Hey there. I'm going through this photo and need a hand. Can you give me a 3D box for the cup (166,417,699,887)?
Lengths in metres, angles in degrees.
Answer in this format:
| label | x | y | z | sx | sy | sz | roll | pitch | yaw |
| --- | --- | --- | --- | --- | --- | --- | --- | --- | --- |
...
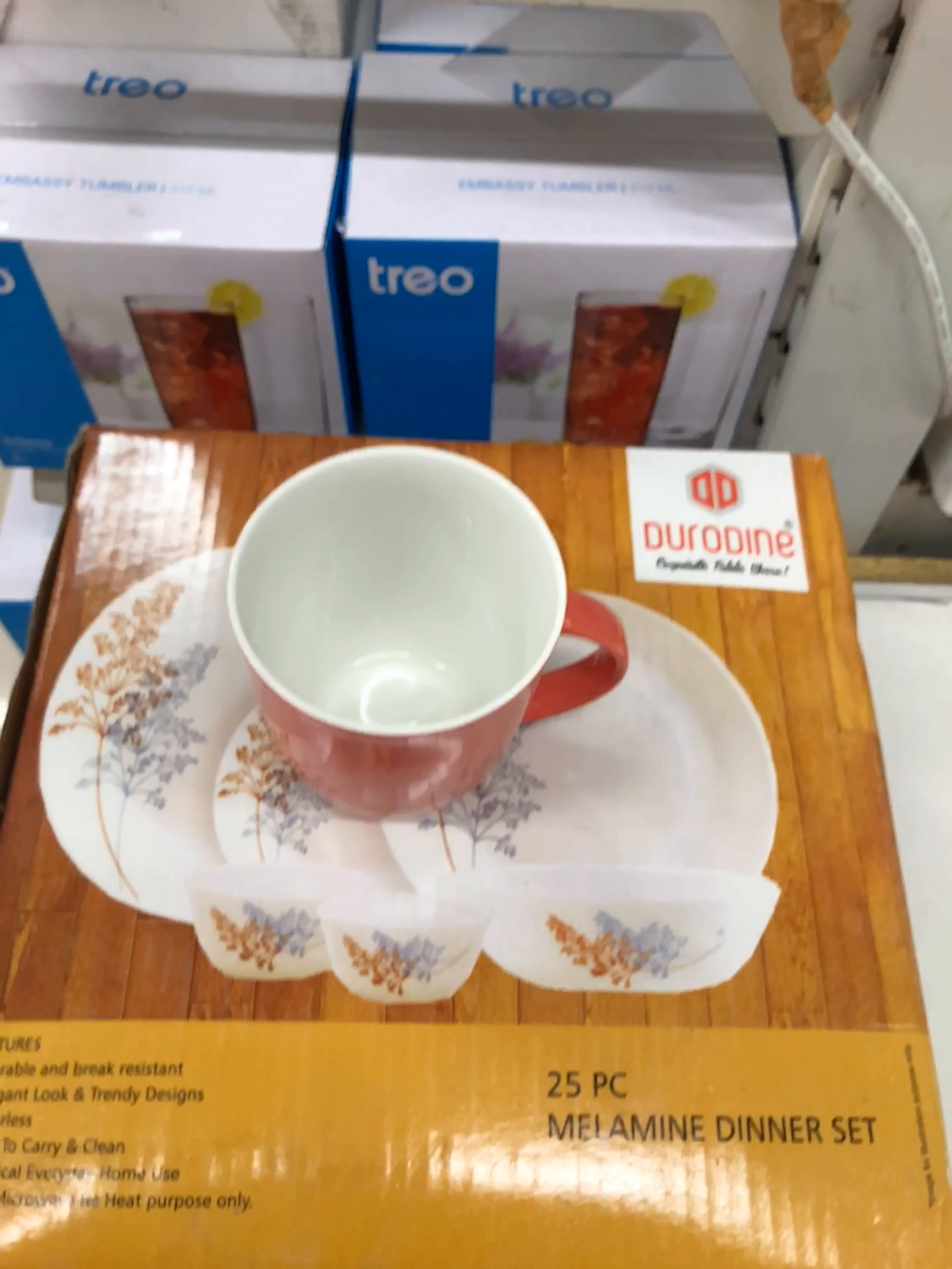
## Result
| label | x | y | z | sx | sy | sz | roll | pitch | yaw |
| --- | --- | --- | --- | --- | --- | --- | --- | --- | --- |
| cup | -0.008 | 0.009 | 0.306 | 0.120 | 0.099 | 0.090 | 4 | 59 | 1 |
